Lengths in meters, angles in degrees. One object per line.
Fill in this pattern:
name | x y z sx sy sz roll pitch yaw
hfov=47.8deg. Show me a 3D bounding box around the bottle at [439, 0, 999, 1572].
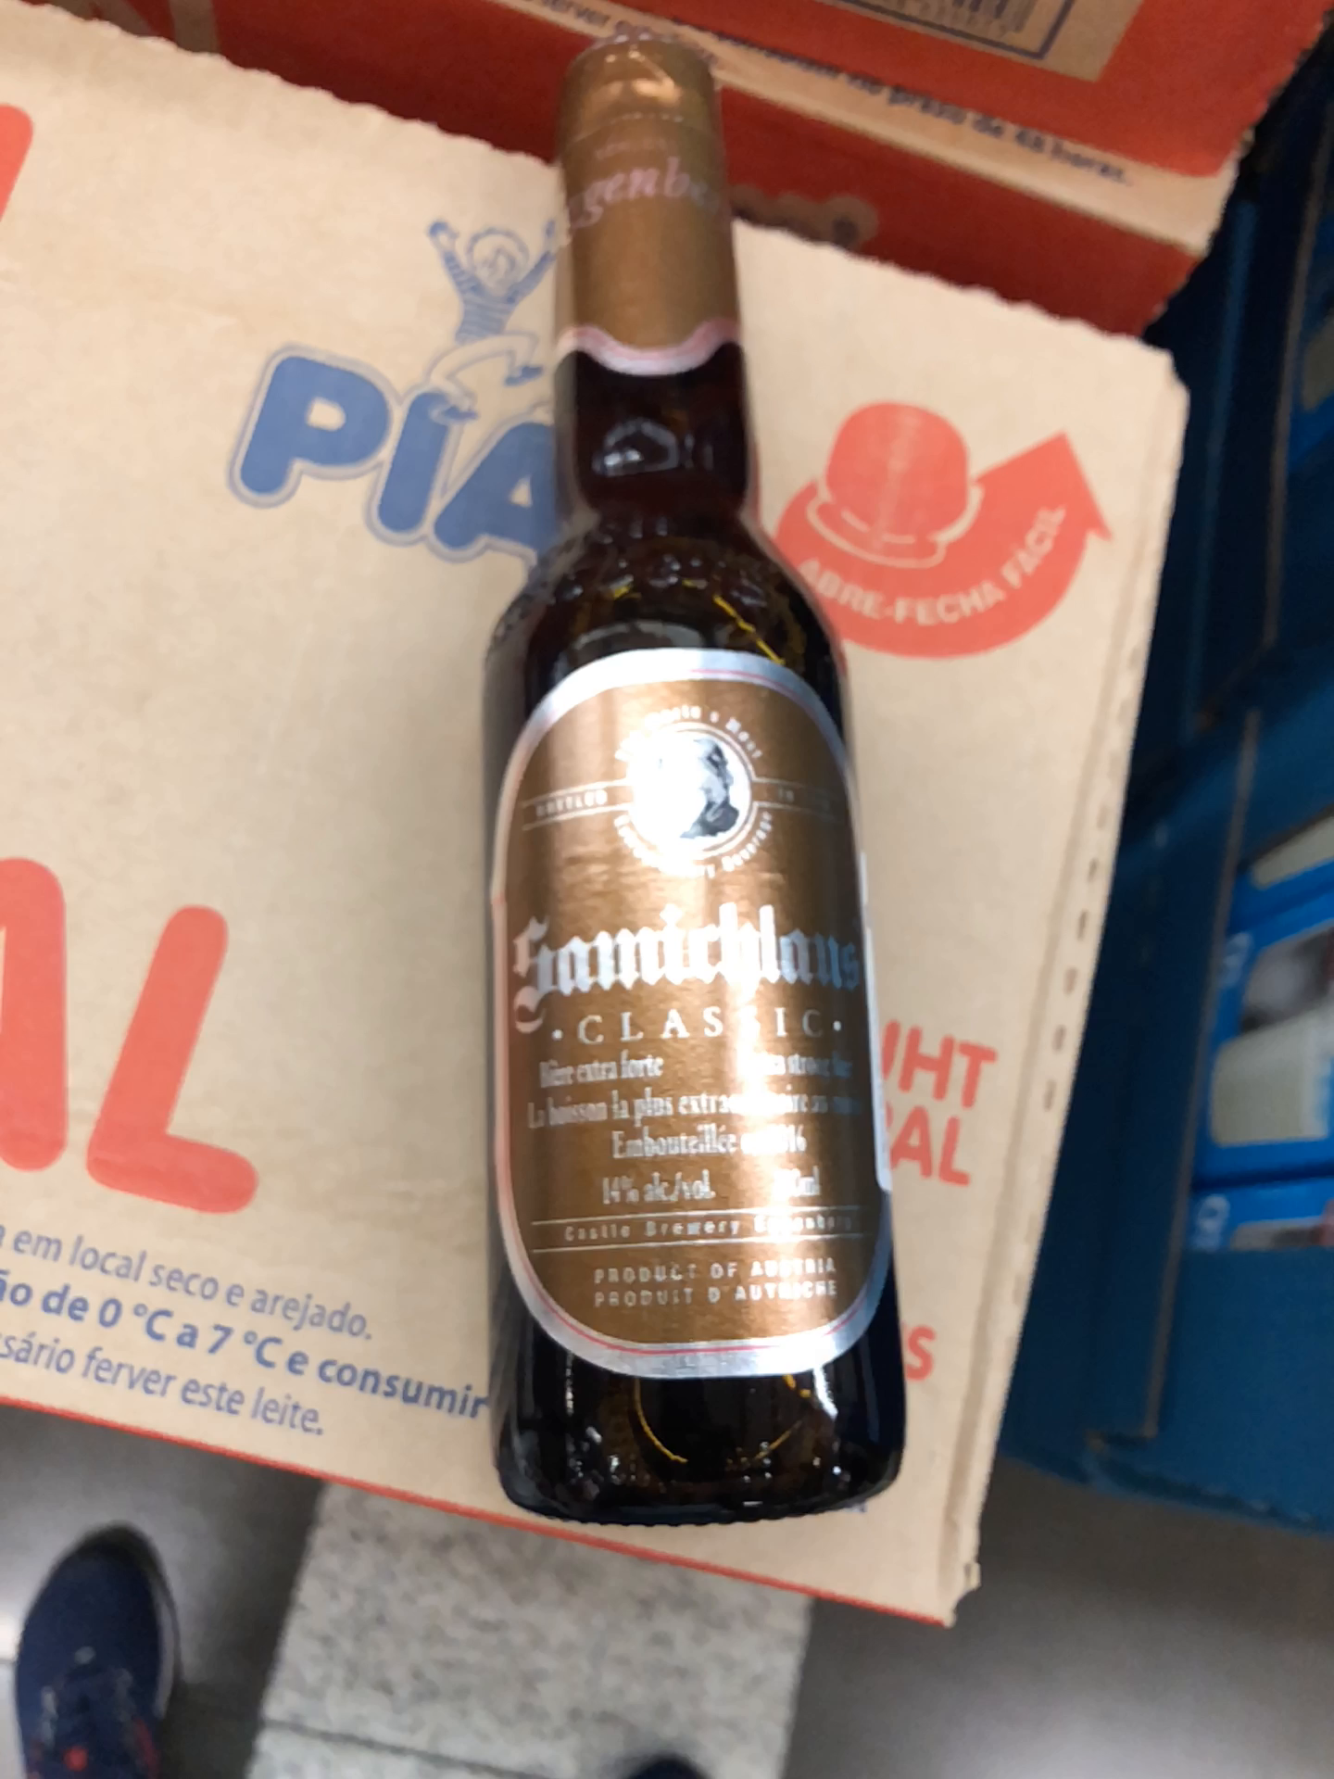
bottle | -0.001 -0.040 0.226 0.060 0.050 0.250 -1 77 -9
